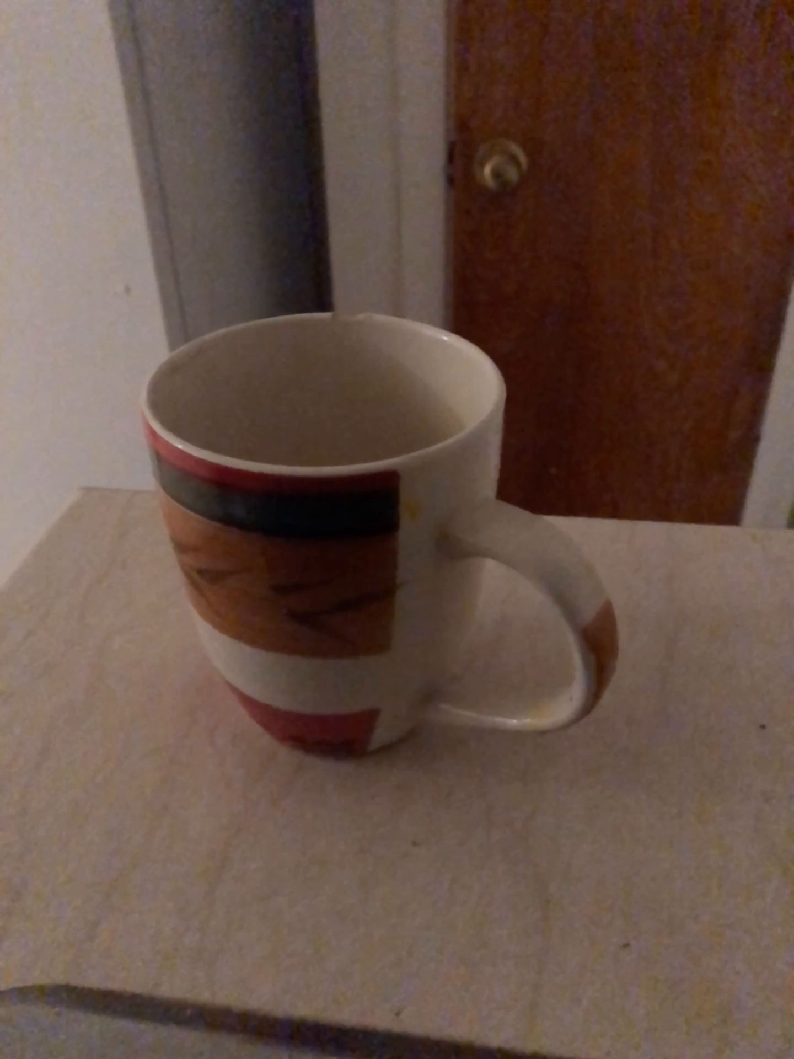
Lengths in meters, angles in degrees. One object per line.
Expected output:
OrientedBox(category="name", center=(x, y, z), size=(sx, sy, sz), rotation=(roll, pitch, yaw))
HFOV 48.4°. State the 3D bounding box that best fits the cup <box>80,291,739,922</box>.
OrientedBox(category="cup", center=(0.004, 0.009, 0.264), size=(0.143, 0.109, 0.101), rotation=(20, 39, 29))
